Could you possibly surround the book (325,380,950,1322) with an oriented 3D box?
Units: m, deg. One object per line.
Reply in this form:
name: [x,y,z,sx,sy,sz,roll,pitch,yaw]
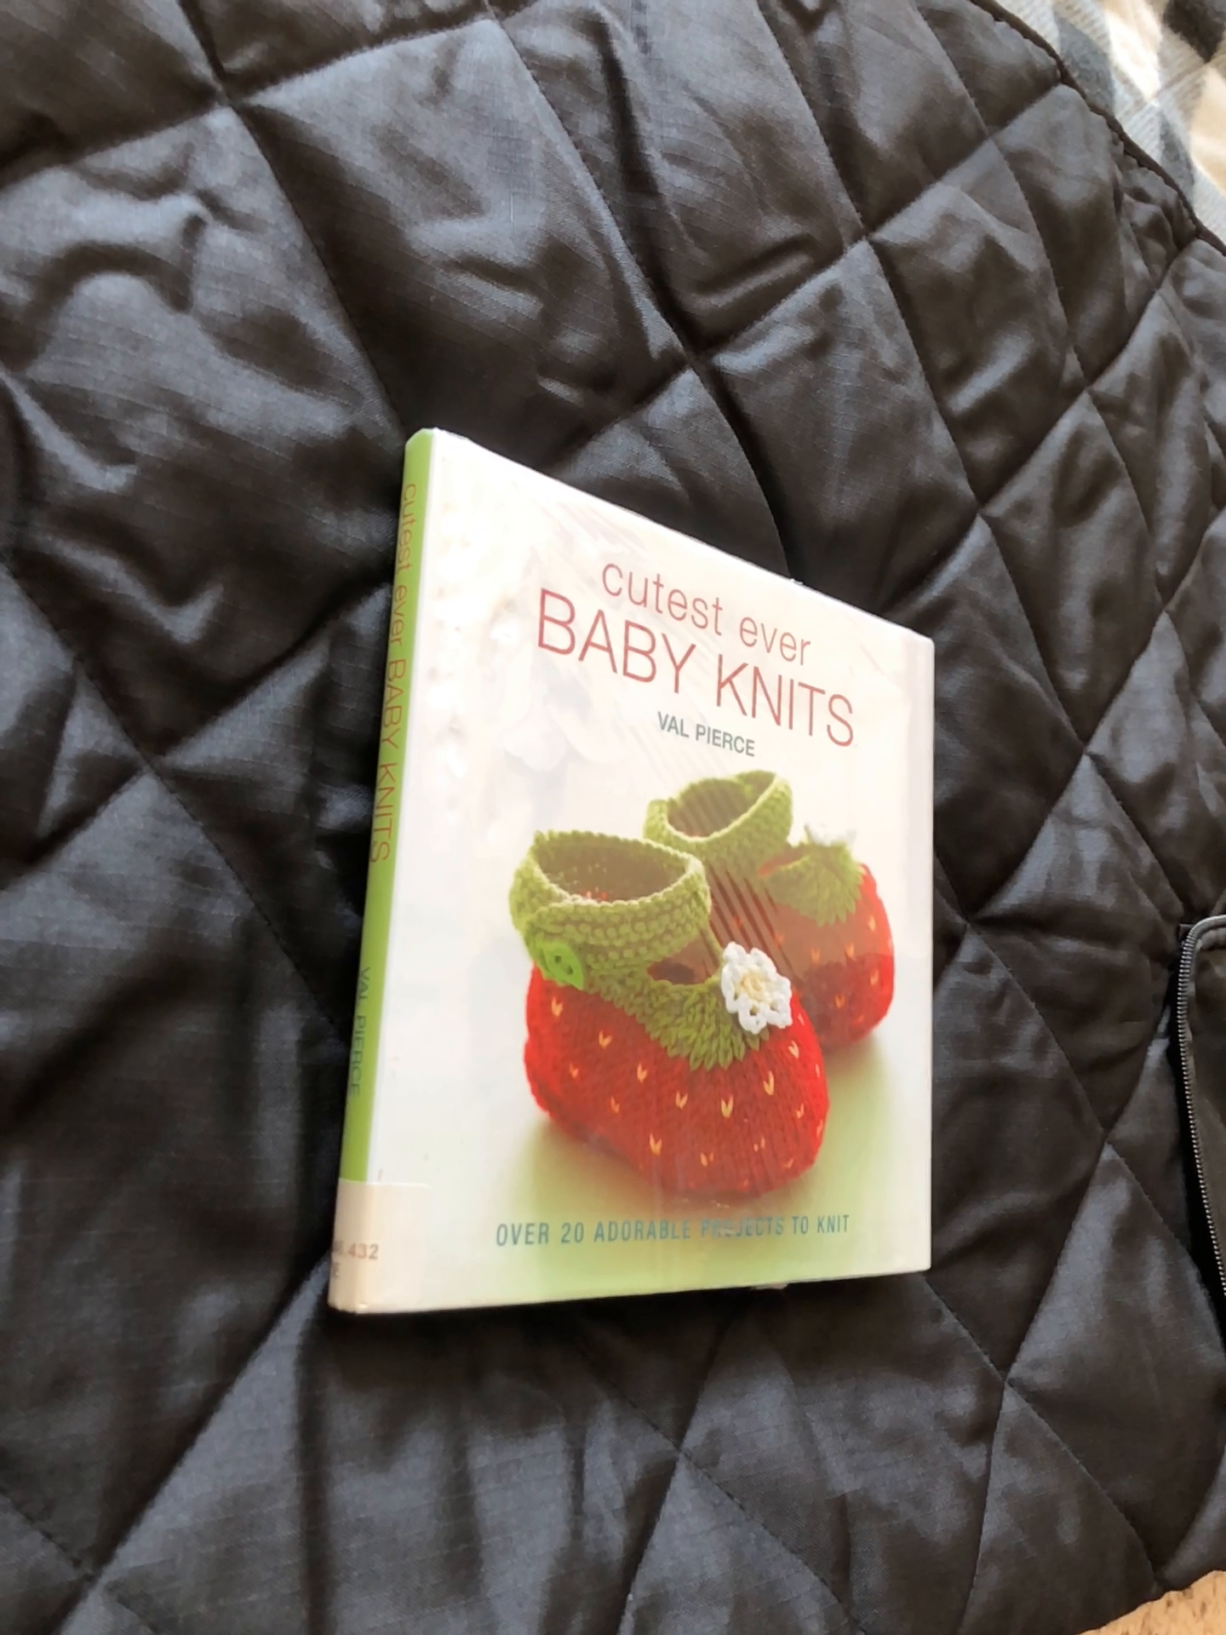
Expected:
book: [0.024,0.018,0.357,0.198,0.020,0.200,13,76,-42]
